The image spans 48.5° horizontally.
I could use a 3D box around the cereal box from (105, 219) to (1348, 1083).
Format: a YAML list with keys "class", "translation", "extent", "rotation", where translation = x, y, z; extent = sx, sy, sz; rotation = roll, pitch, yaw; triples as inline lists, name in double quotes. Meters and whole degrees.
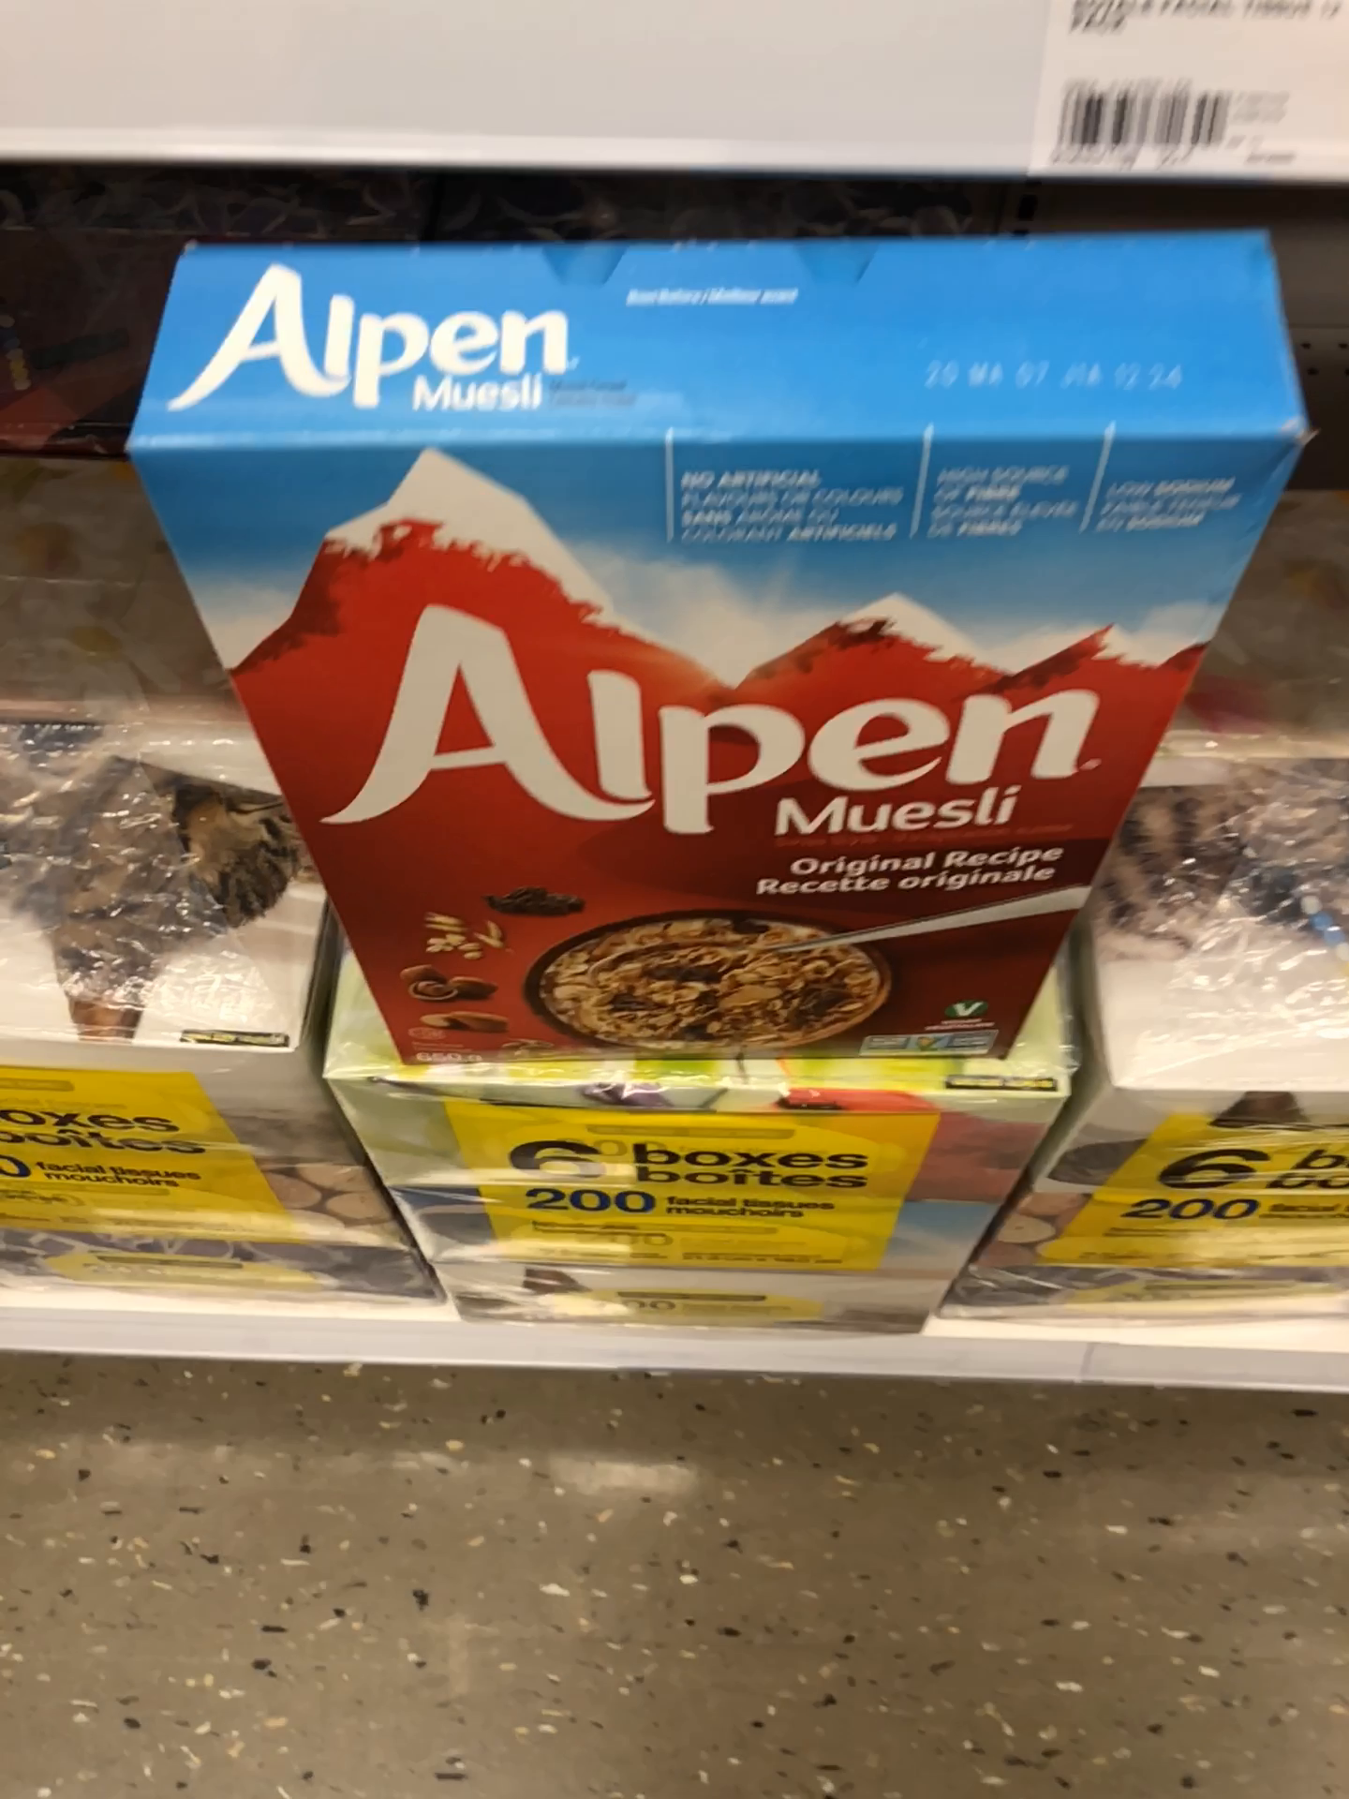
- class: "cereal box"
  translation: [0.011, -0.028, 0.321]
  extent: [0.180, 0.230, 0.050]
  rotation: [-1, 62, 0]
